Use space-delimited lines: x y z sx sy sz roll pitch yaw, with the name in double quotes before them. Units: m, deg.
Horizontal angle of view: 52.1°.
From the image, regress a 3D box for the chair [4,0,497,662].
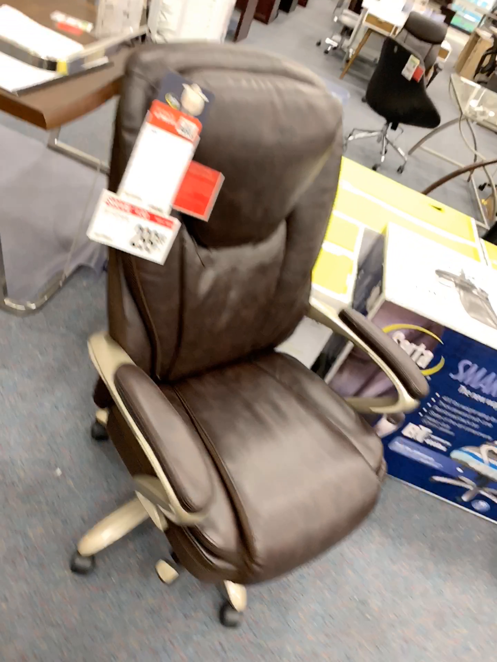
"chair" -0.005 0.072 1.151 0.783 1.105 0.846 -10 52 -36
